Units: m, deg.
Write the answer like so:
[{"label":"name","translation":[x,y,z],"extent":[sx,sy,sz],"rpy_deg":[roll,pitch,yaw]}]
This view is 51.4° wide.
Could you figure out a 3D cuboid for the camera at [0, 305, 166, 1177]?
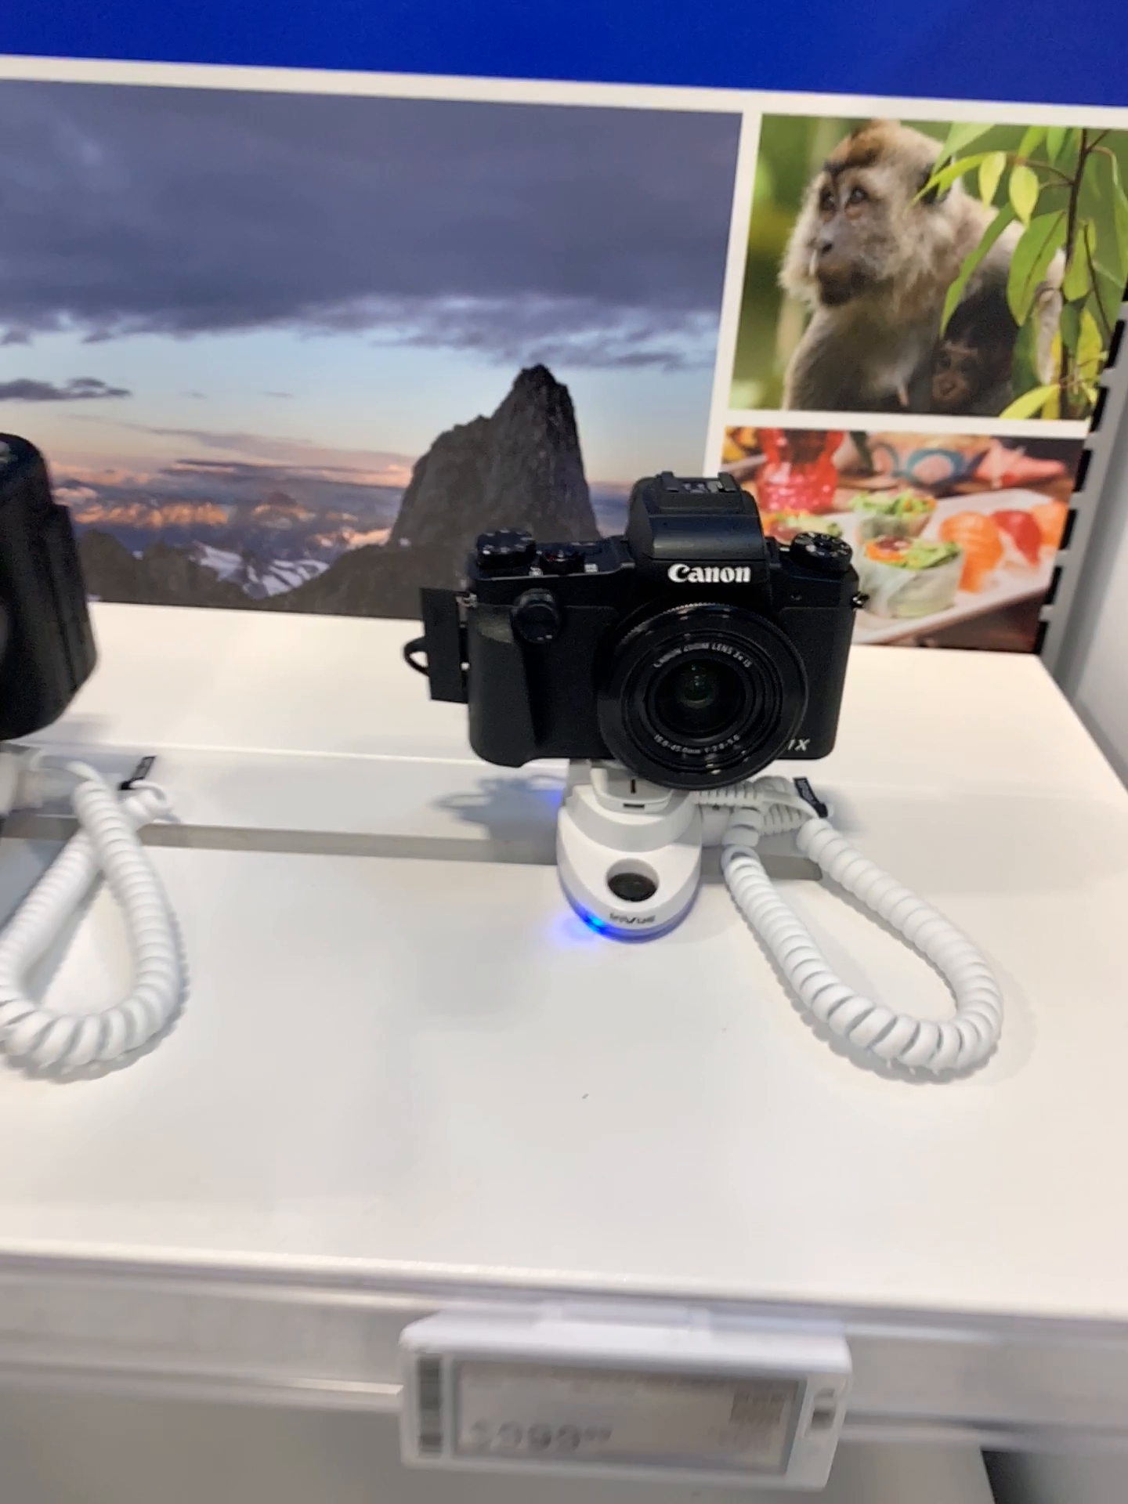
[{"label":"camera","translation":[-0.216,-0.028,0.281],"extent":[0.160,0.109,0.221],"rpy_deg":[2,29,-1]}]

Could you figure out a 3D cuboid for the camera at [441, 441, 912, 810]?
[{"label":"camera","translation":[0.026,-0.037,0.344],"extent":[0.120,0.089,0.060],"rpy_deg":[0,29,-4]}]
